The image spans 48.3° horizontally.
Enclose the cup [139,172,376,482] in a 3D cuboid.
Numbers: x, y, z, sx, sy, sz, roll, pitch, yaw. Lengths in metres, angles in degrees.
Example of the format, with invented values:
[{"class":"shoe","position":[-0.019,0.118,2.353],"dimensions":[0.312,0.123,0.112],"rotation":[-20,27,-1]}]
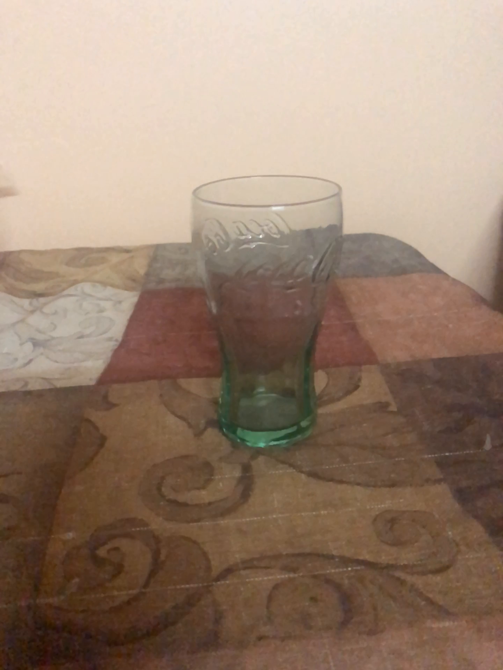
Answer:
[{"class":"cup","position":[0.005,-0.010,0.252],"dimensions":[0.070,0.110,0.070],"rotation":[-1,24,0]}]
